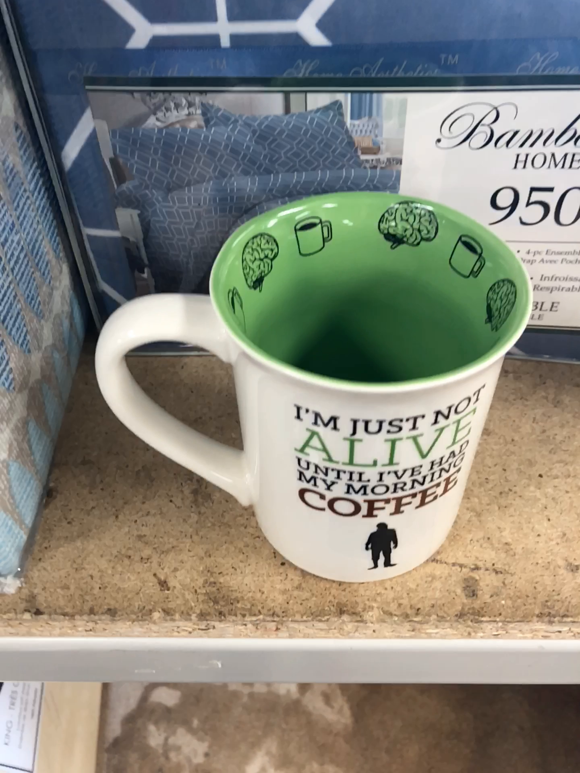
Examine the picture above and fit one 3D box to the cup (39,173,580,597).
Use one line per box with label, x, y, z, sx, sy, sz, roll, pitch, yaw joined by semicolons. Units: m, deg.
cup;0.007;0.003;0.244;0.138;0.124;0.100;0;46;2
